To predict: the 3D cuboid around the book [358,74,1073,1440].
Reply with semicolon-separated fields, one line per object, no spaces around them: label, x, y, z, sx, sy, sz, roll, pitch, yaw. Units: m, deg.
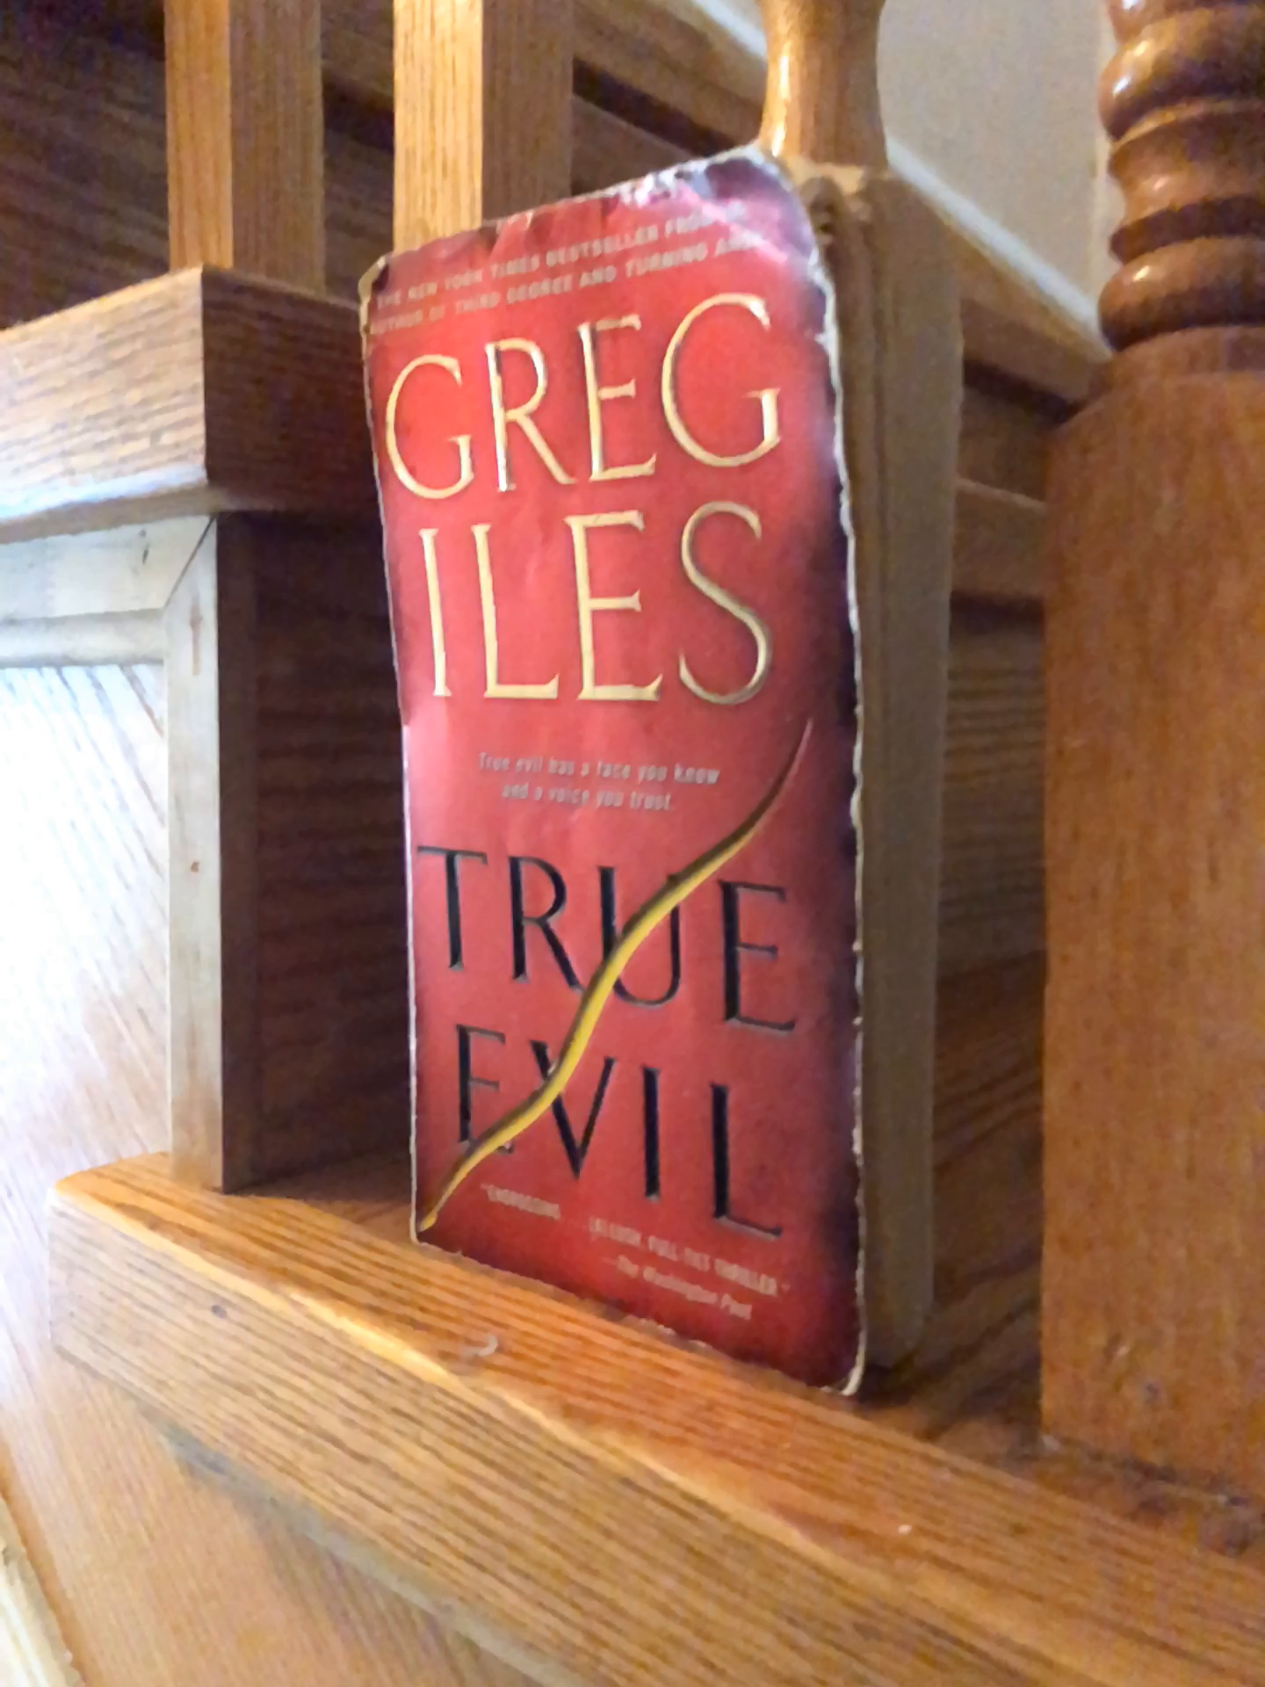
book;0.012;-0.015;0.277;0.120;0.205;0.068;4;5;41
